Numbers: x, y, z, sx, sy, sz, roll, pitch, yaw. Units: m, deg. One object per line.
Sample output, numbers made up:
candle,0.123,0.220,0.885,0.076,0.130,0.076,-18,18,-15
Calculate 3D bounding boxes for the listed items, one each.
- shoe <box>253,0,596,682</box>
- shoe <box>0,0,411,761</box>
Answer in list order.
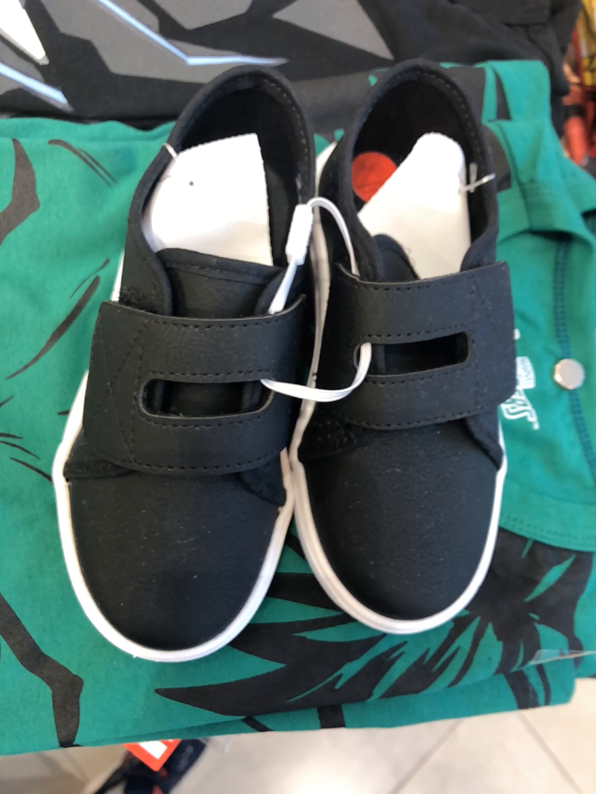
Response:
shoe,0.040,-0.014,0.217,0.090,0.090,0.170,1,81,-16
shoe,-0.027,-0.002,0.197,0.080,0.090,0.170,7,80,-15
